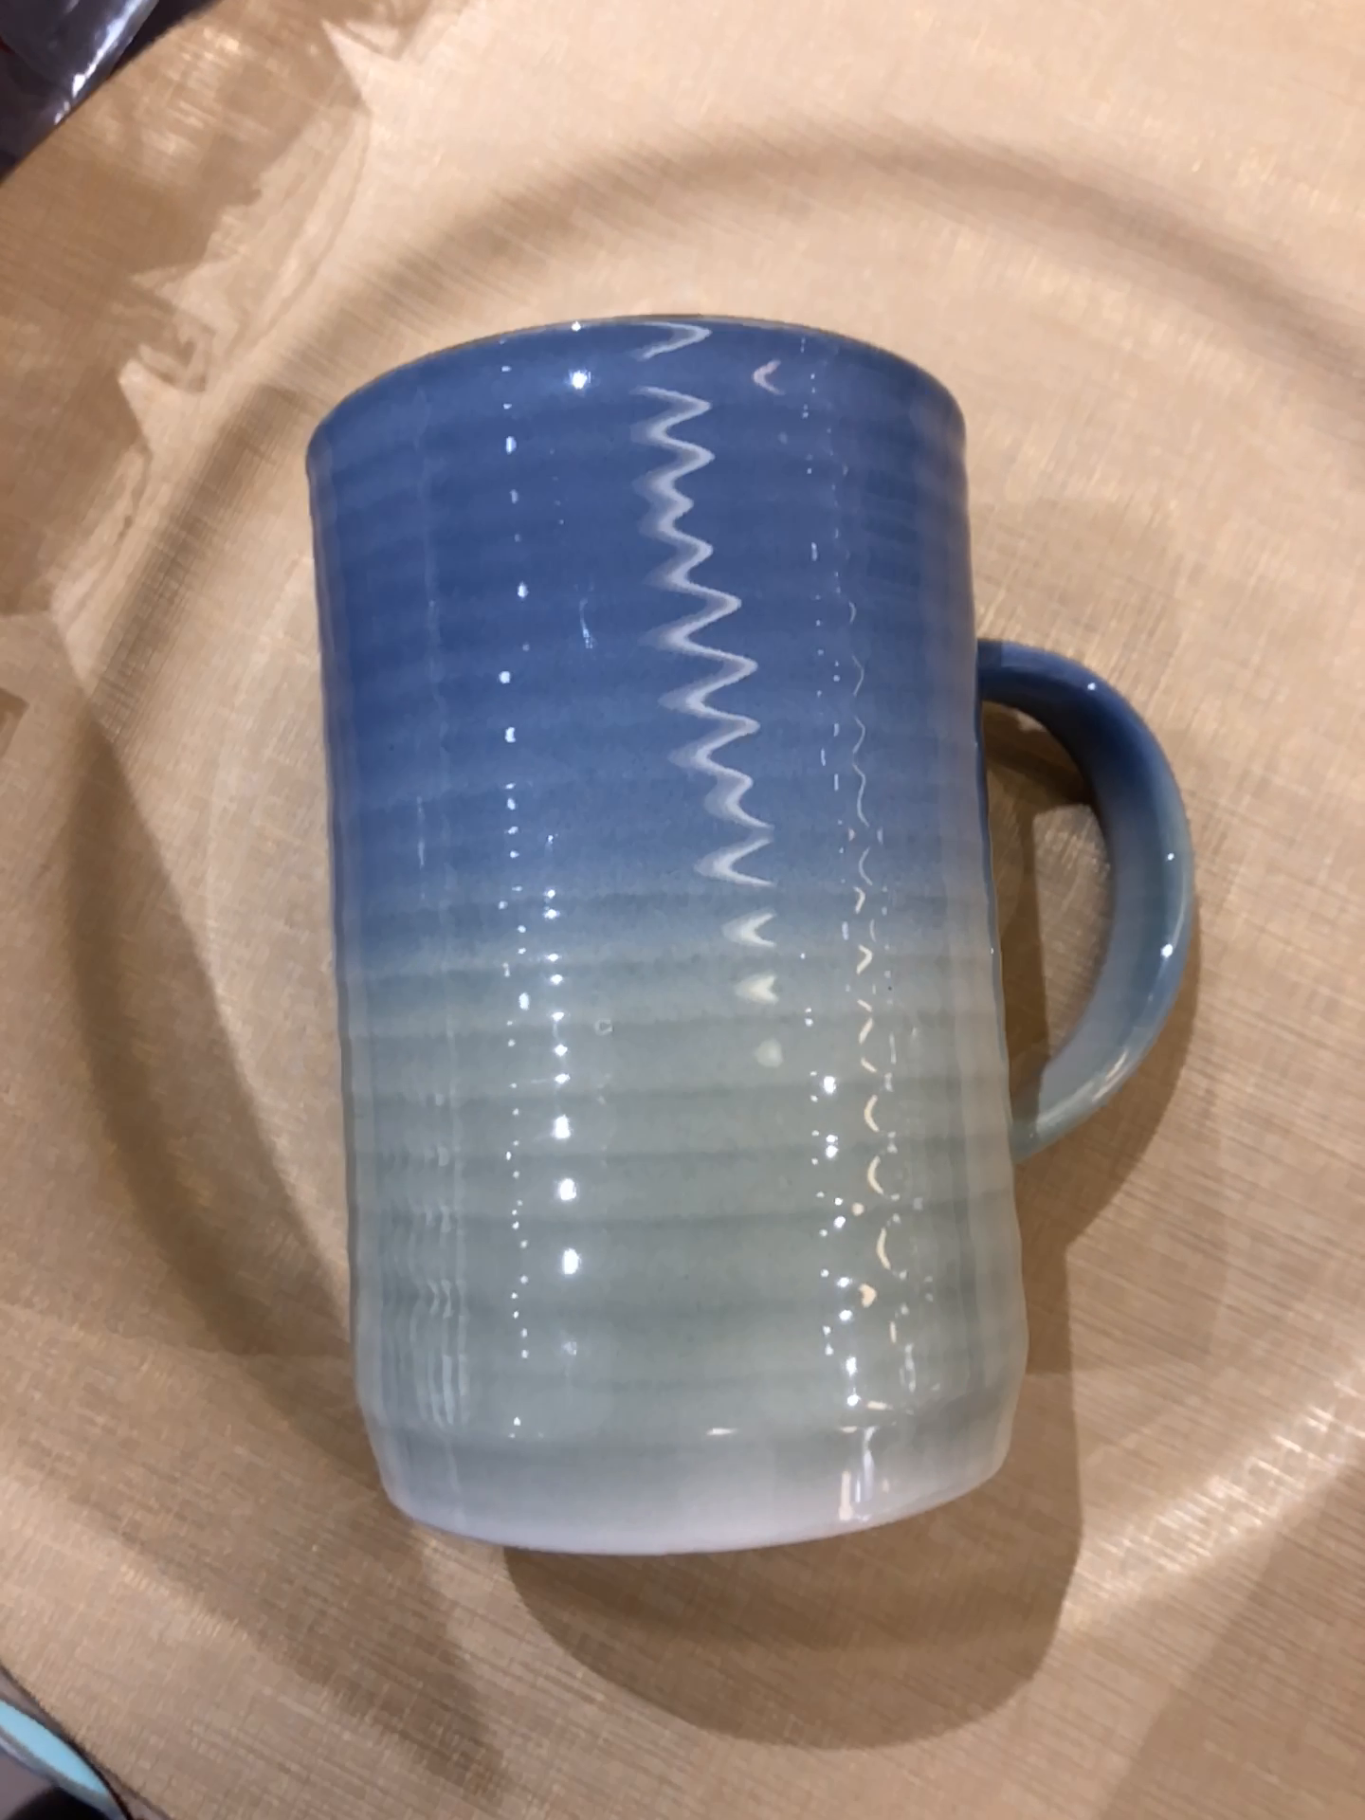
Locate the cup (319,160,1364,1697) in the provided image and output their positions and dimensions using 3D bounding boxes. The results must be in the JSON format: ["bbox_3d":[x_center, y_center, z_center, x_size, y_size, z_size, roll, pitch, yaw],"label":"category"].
[{"bbox_3d":[0.022,0.000,0.183,0.120,0.060,0.140,-1,81,-16],"label":"cup"}]
